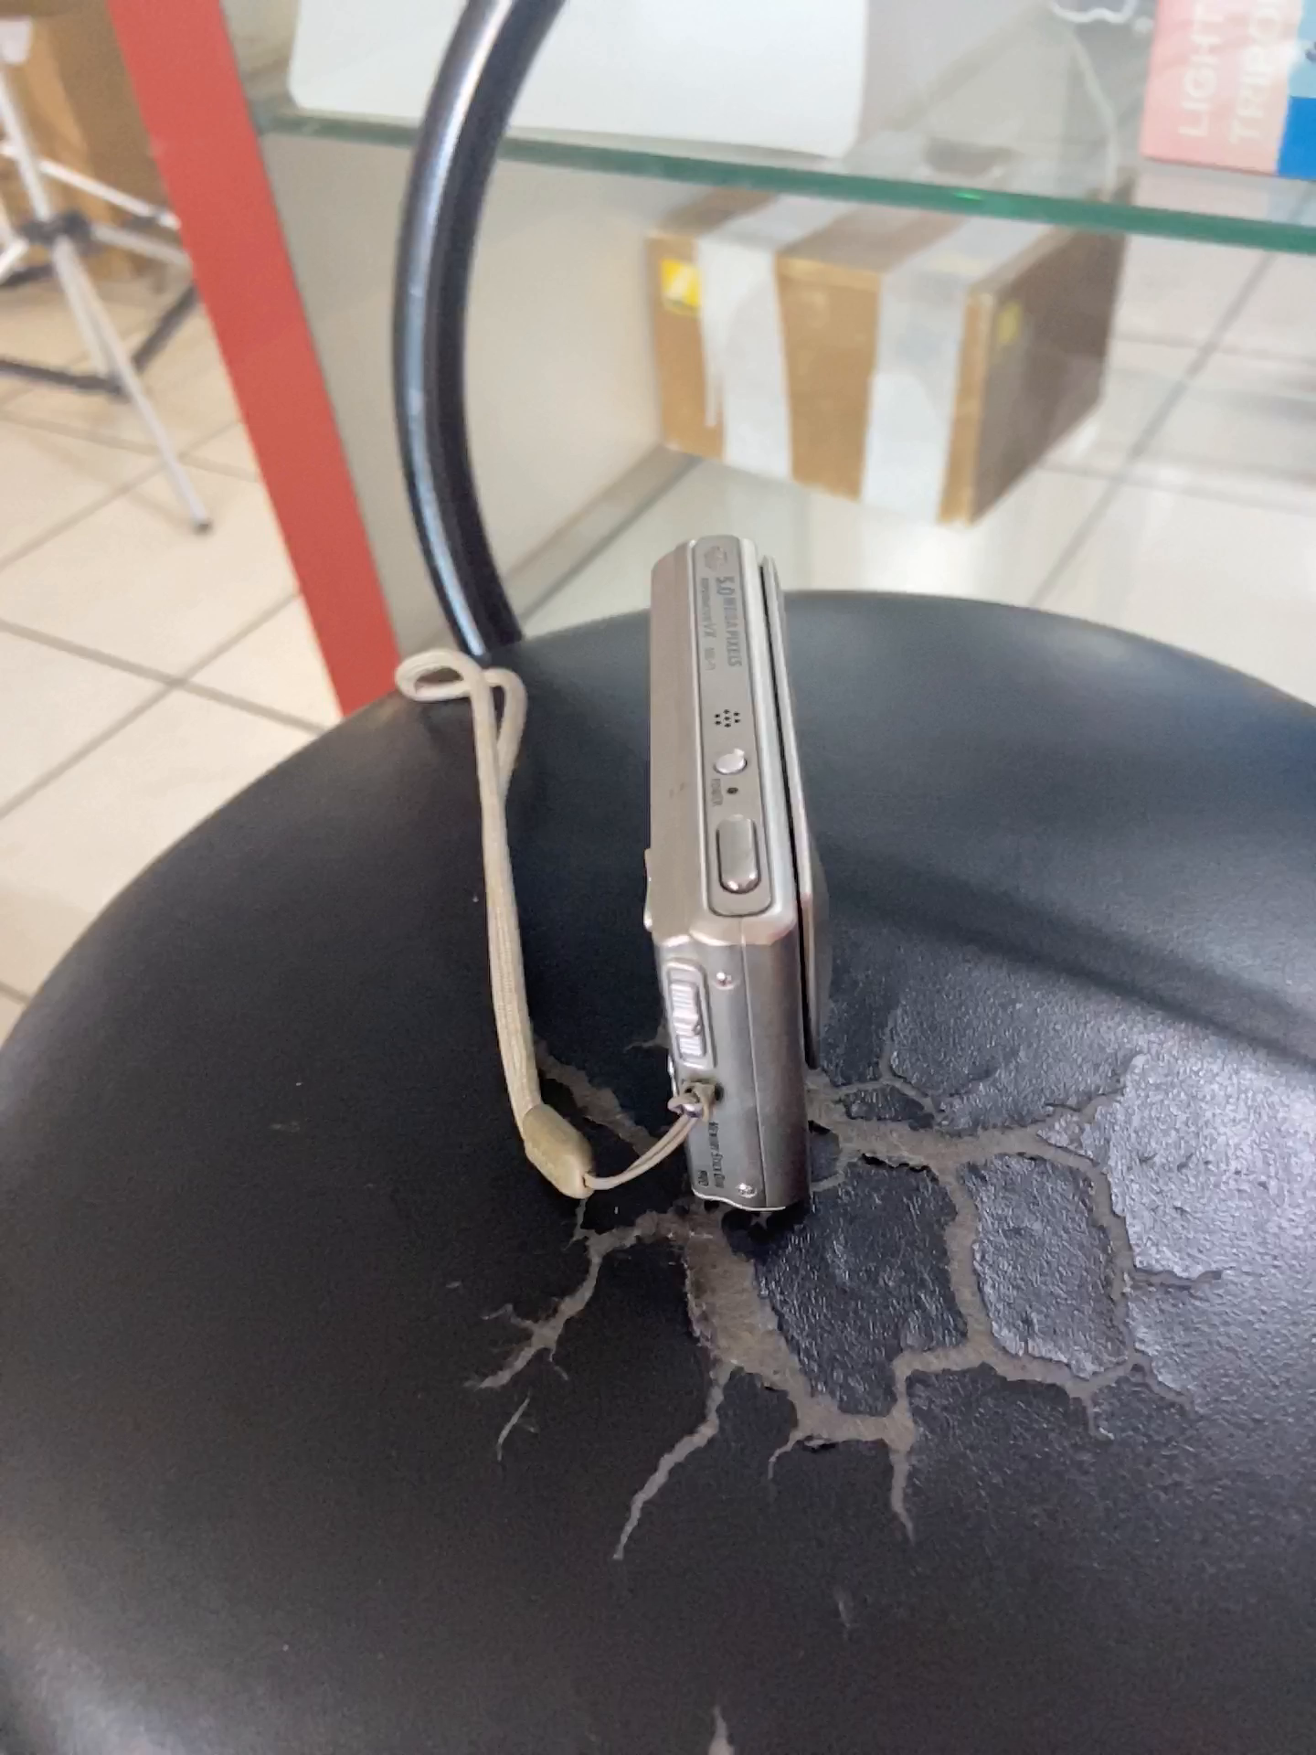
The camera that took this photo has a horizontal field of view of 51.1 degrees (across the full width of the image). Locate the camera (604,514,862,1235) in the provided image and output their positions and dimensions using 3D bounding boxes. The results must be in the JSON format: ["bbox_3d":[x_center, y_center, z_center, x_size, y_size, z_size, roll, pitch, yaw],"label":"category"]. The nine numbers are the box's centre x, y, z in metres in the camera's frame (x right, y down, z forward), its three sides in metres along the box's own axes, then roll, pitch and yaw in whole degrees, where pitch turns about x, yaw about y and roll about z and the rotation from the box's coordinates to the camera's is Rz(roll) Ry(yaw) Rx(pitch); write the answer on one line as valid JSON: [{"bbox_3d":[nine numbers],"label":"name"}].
[{"bbox_3d":[0.010,-0.005,0.218,0.030,0.060,0.101,-5,43,2],"label":"camera"}]
